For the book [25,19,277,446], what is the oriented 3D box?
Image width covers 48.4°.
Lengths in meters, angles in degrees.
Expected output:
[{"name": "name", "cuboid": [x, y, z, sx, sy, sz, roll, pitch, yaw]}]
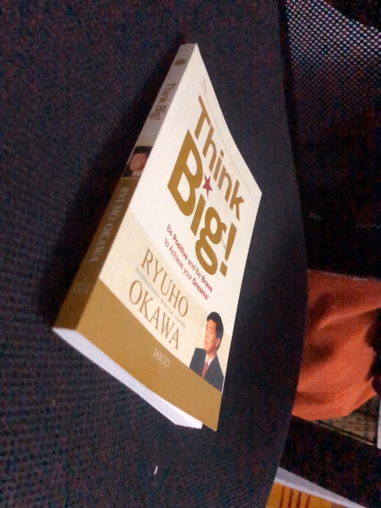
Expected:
[{"name": "book", "cuboid": [0.006, -0.011, 0.238, 0.138, 0.026, 0.190, 56, 42, -47]}]
